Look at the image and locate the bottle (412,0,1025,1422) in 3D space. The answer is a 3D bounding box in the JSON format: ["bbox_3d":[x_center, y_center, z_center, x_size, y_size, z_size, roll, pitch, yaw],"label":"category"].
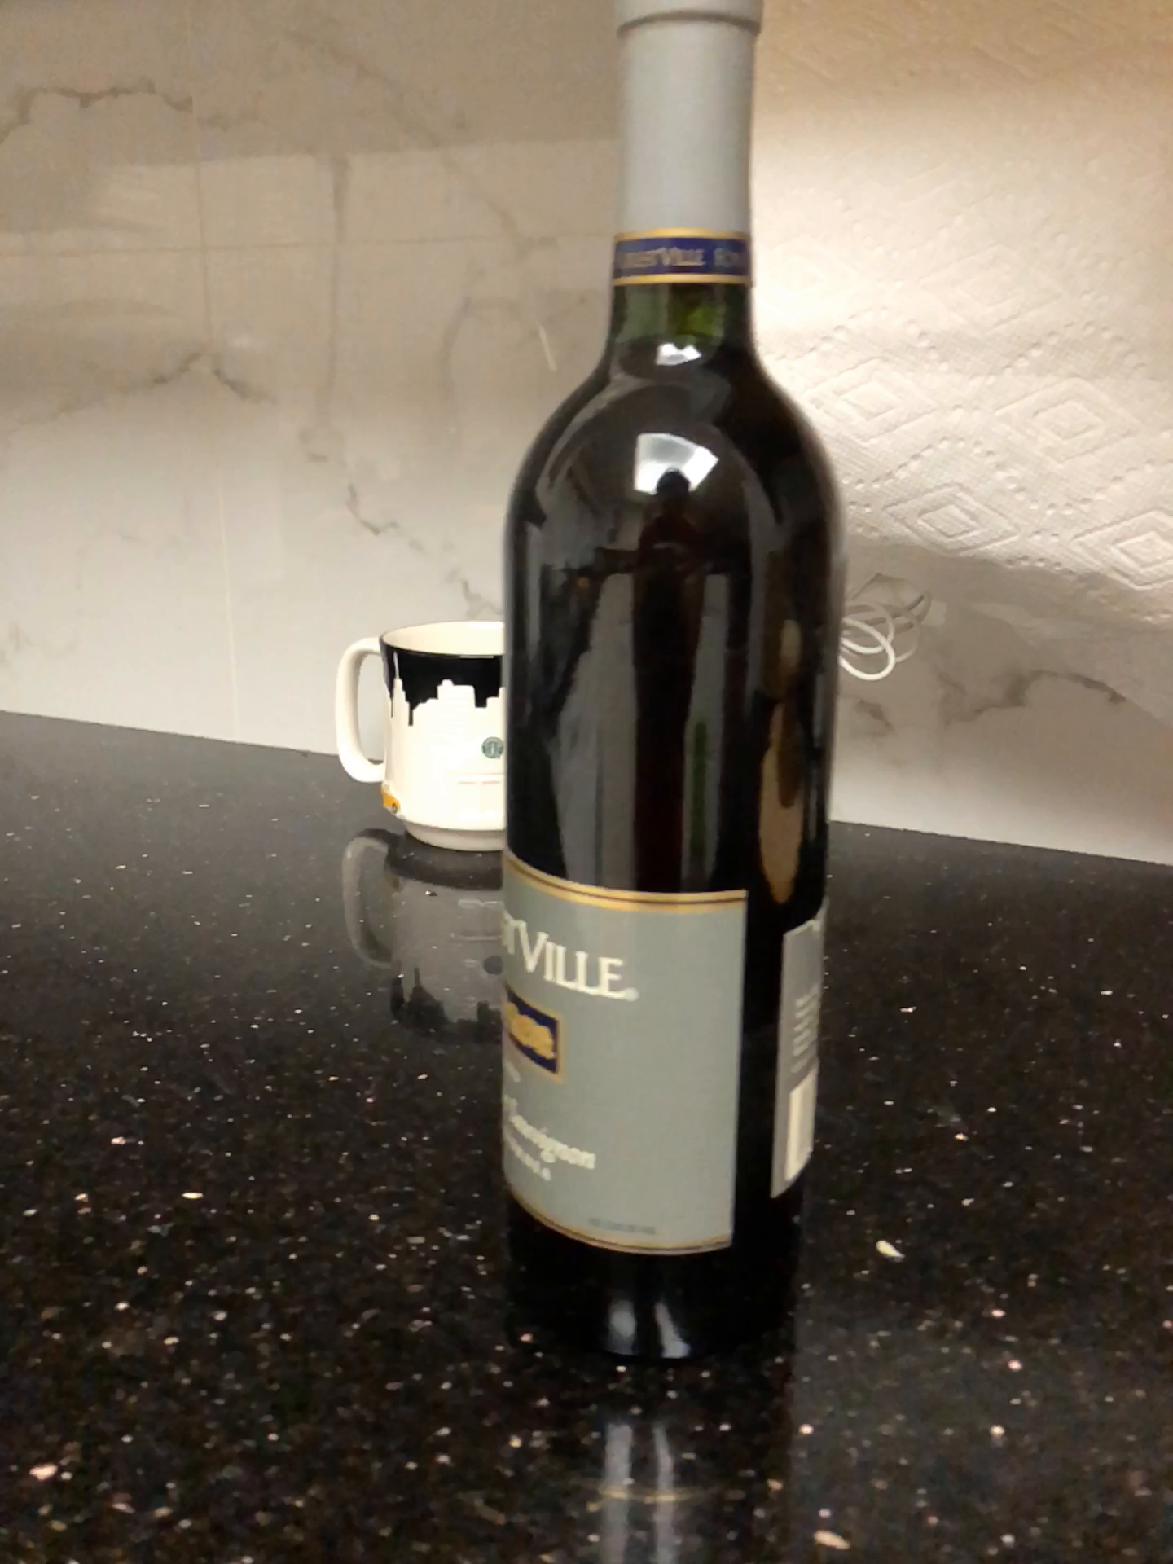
[{"bbox_3d":[0.017,-0.021,0.287,0.090,0.299,0.080,-5,17,-20],"label":"bottle"}]
